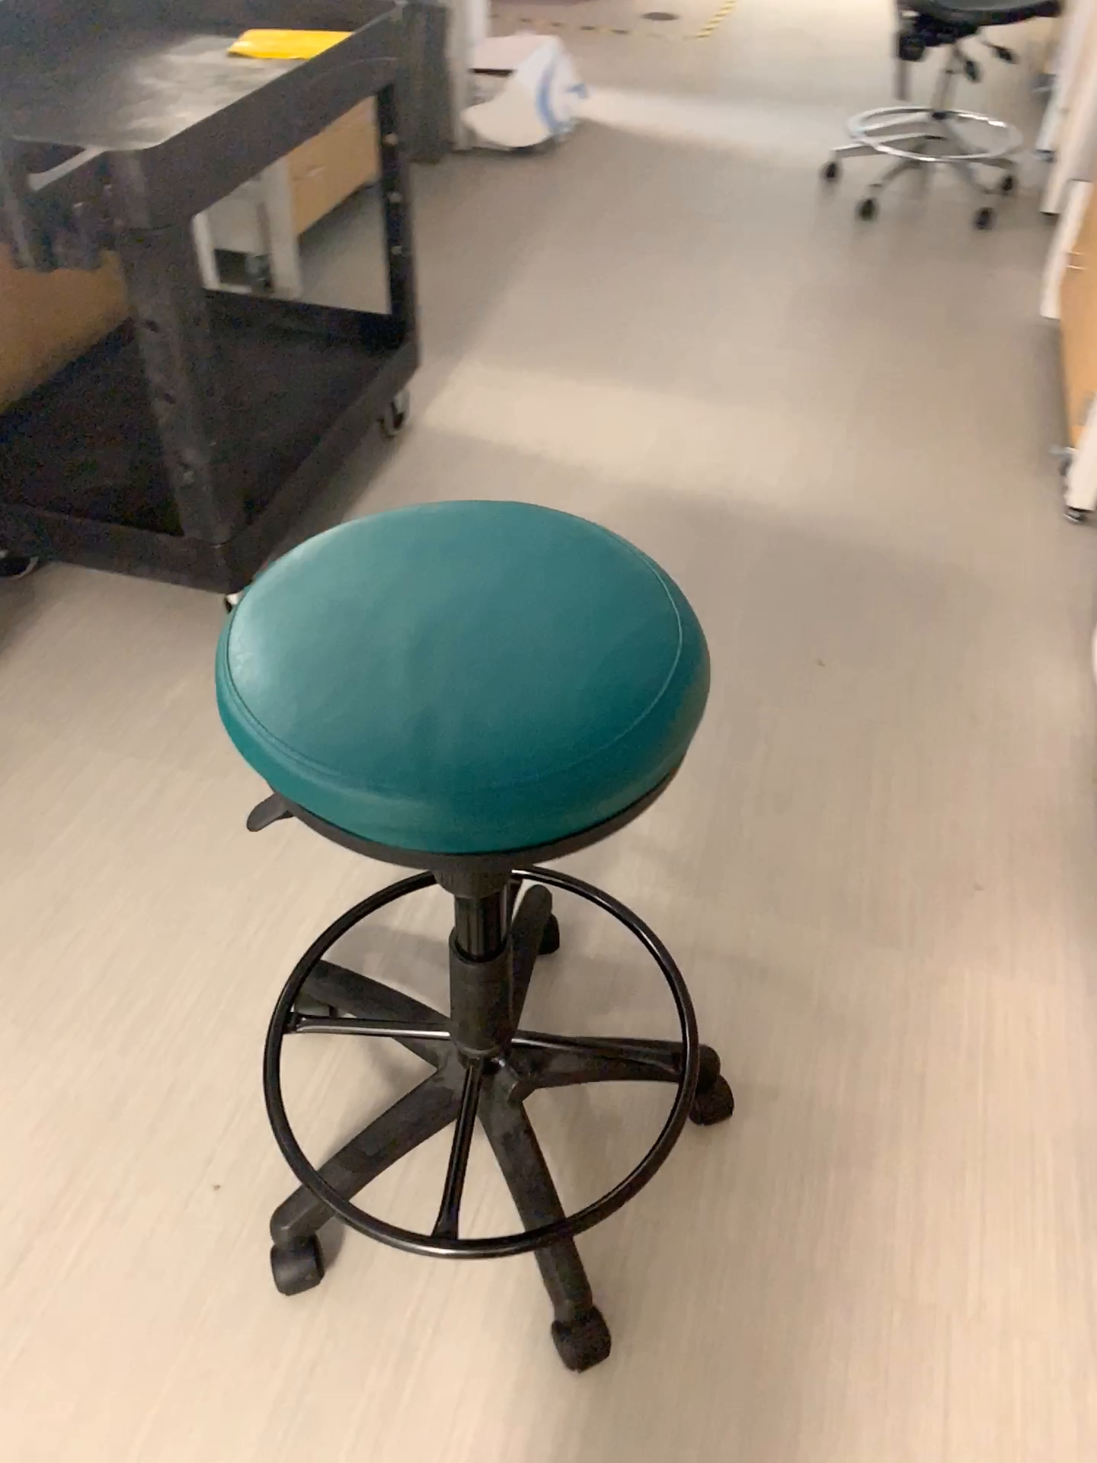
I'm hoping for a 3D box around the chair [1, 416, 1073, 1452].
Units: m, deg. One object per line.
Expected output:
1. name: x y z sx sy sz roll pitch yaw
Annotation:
1. chair: -0.053 0.168 1.037 0.590 0.654 0.595 -6 43 -10
